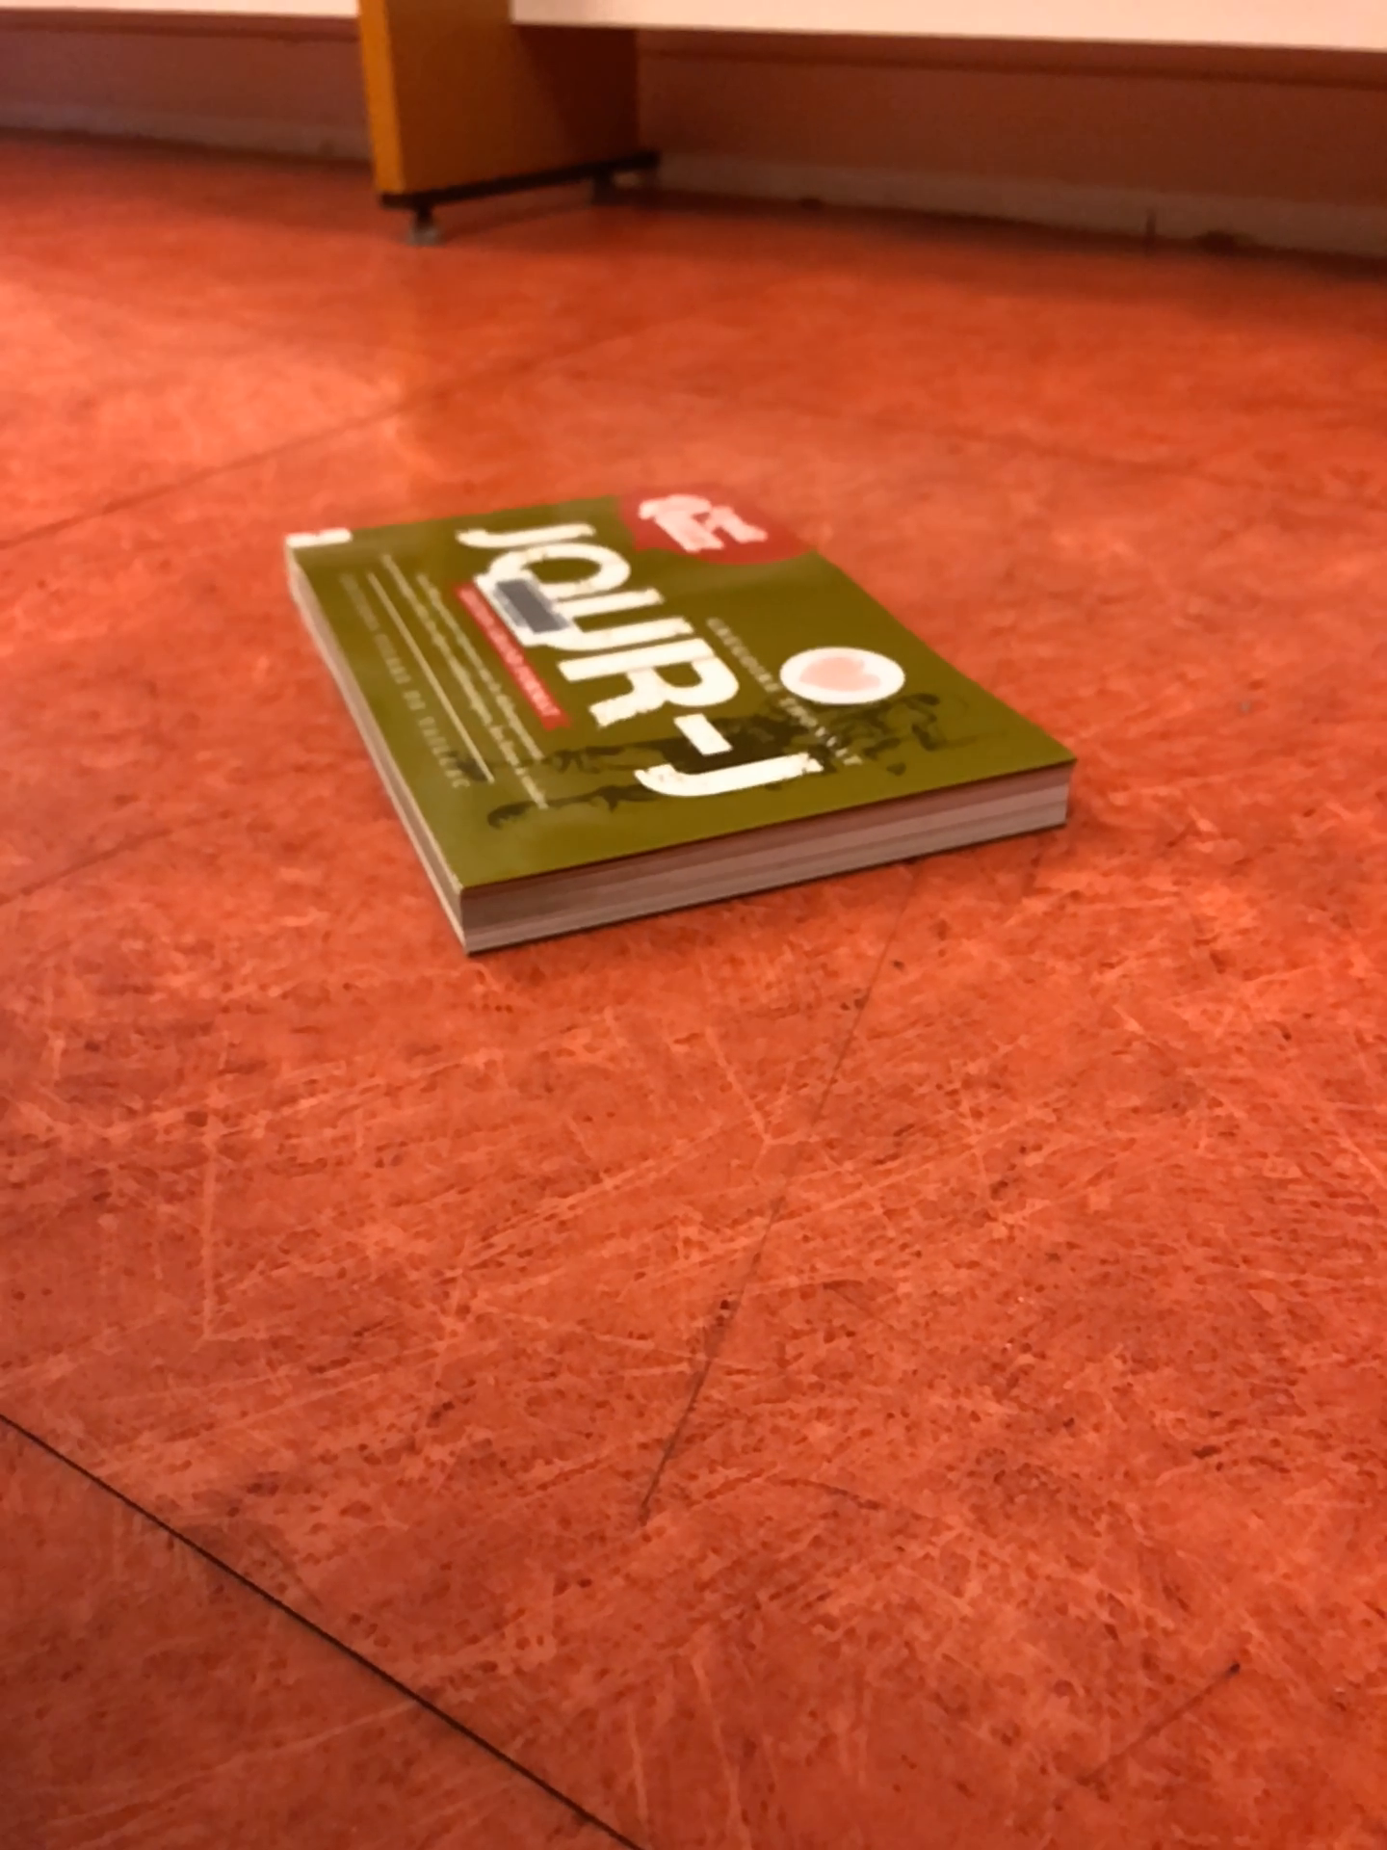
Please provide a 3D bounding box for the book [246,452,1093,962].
[{"bbox_3d":[-0.022,-0.071,0.388,0.137,0.016,0.219,-13,37,-20],"label":"book"}]
